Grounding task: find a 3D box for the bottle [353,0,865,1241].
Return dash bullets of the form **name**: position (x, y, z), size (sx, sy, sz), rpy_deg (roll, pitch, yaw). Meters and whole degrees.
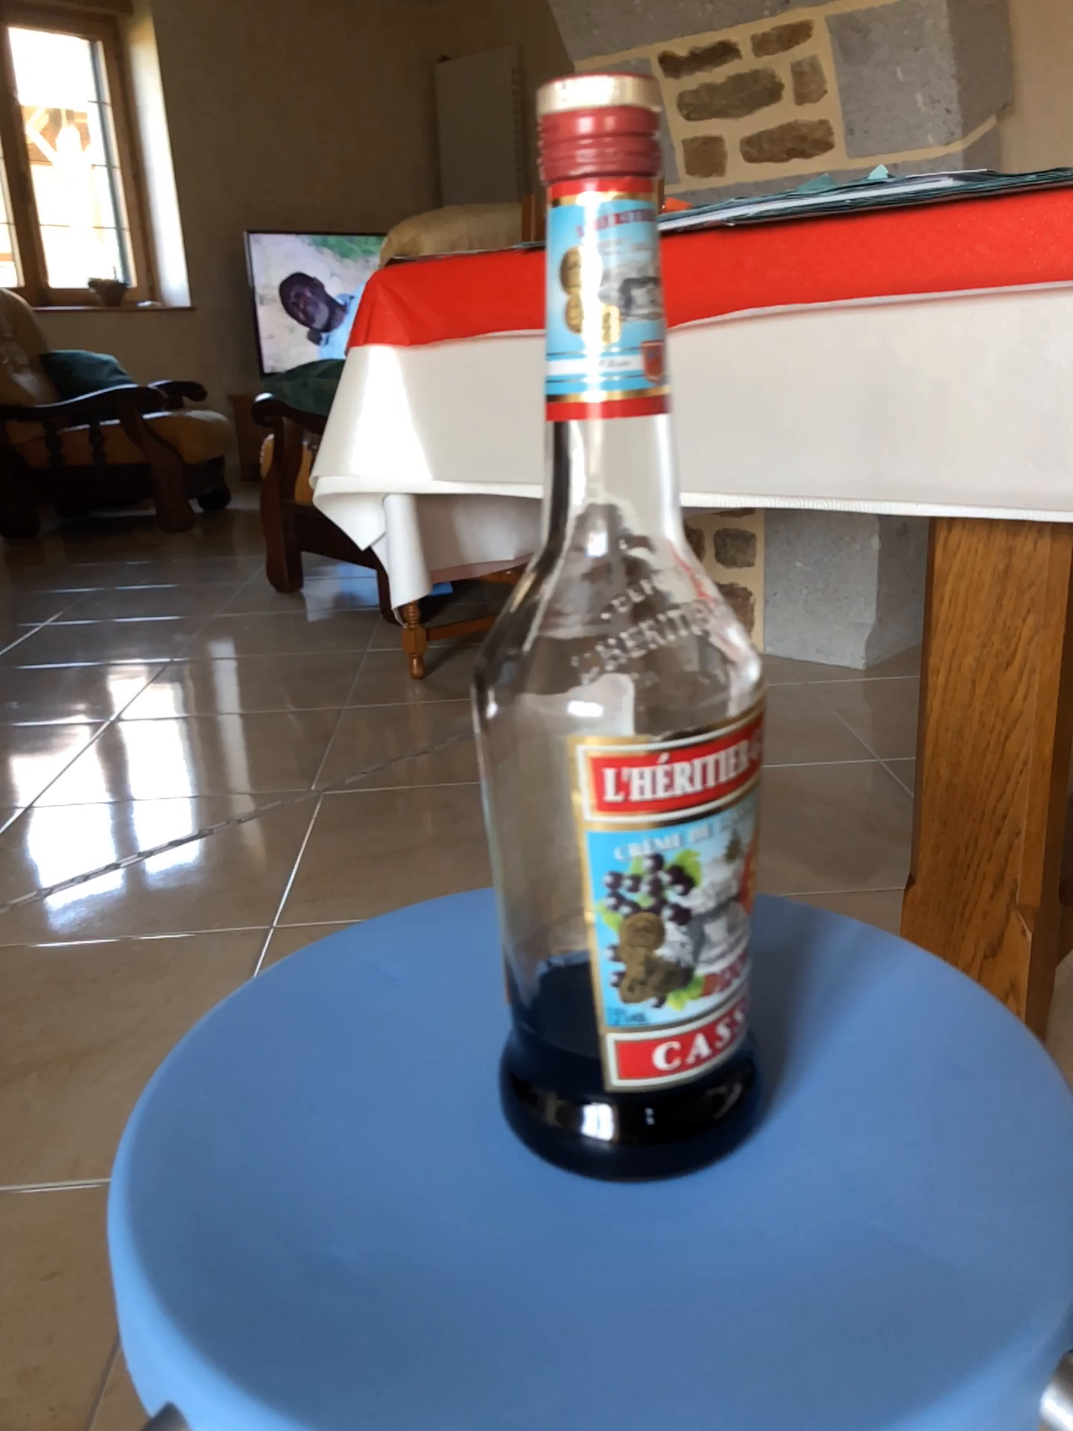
- **bottle**: position (0.024, -0.020, 0.336), size (0.090, 0.299, 0.090), rpy_deg (-3, 17, 1)
